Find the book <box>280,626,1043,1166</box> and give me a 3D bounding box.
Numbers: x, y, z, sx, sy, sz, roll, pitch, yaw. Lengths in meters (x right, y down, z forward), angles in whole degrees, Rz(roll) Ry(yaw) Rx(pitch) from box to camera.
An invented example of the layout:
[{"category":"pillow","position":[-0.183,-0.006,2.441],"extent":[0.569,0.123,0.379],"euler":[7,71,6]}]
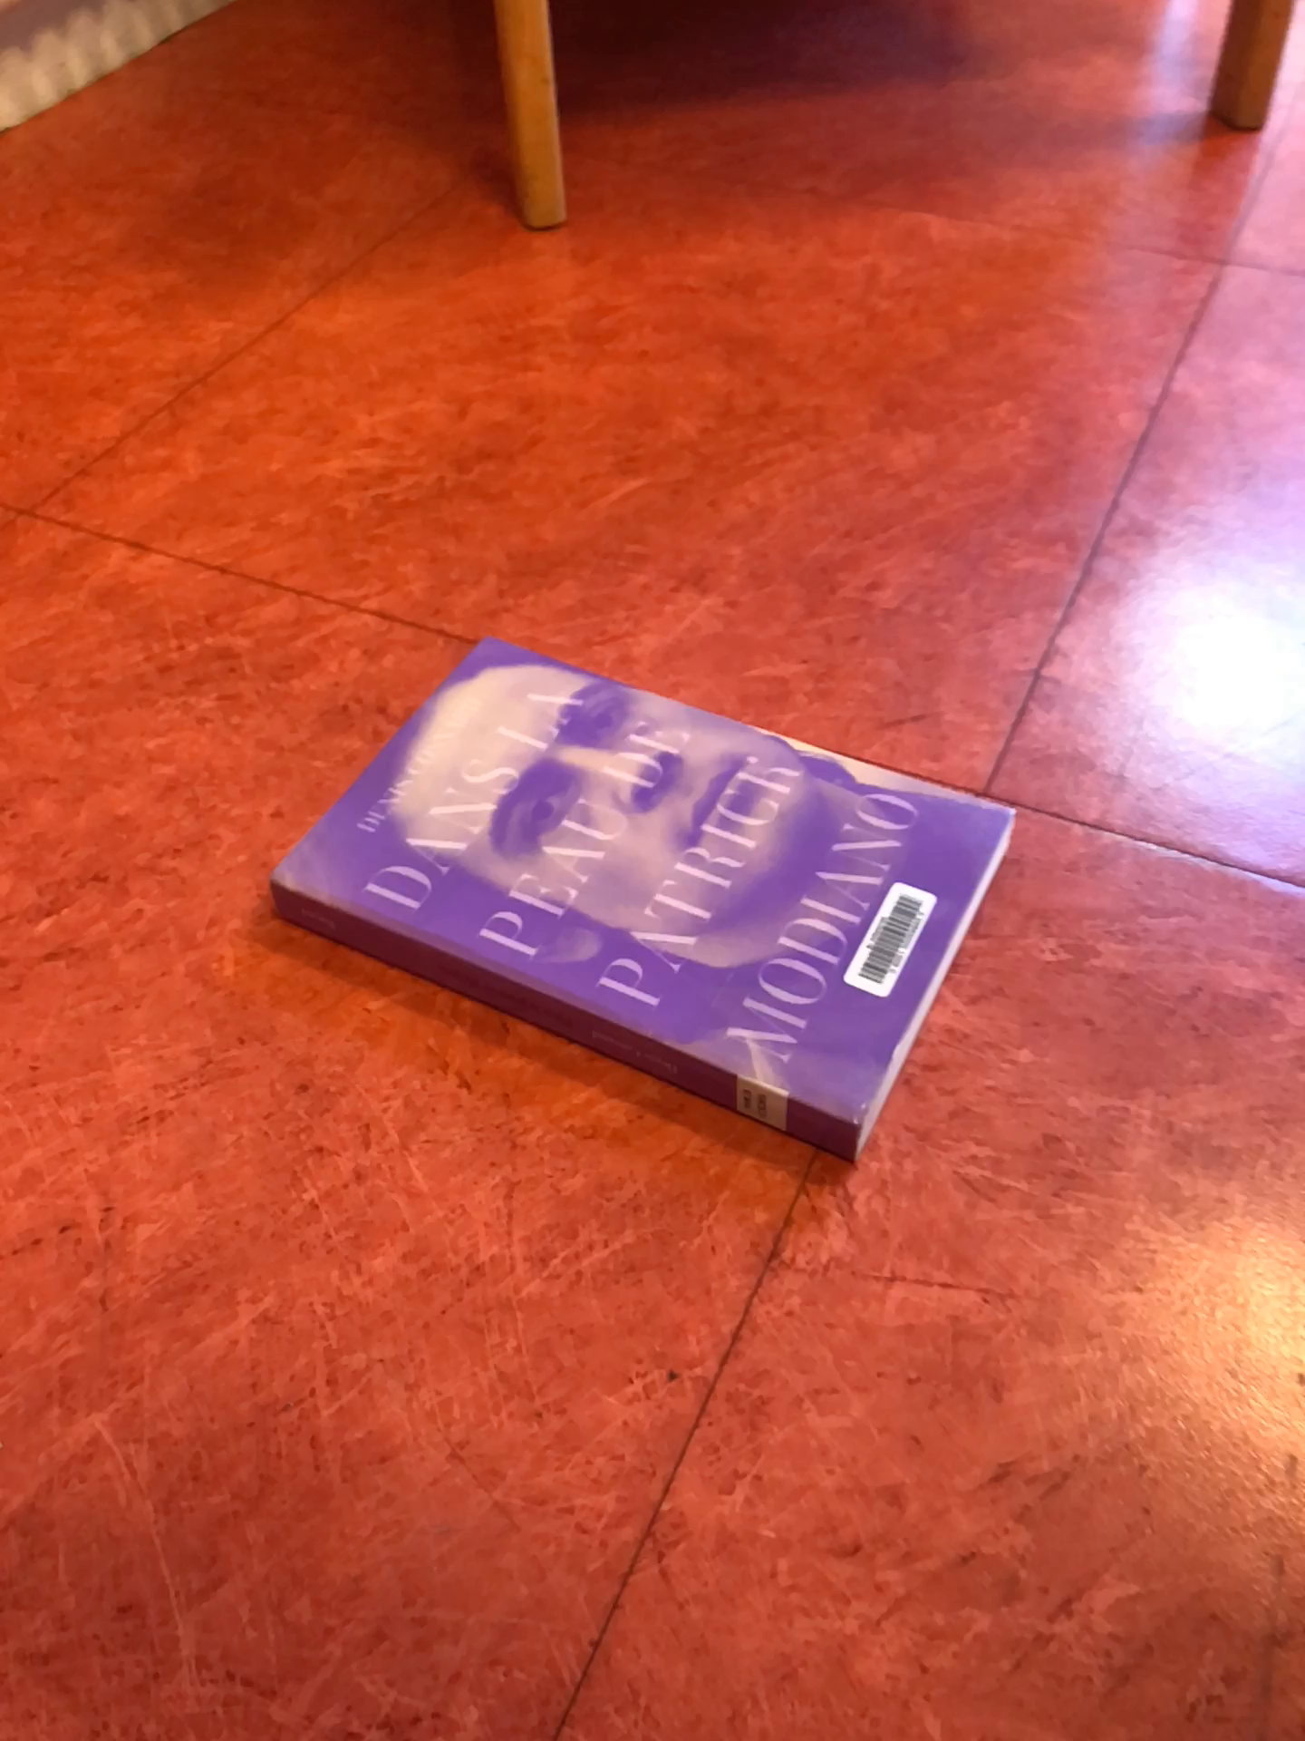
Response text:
[{"category":"book","position":[0.005,-0.004,0.529],"extent":[0.232,0.030,0.151],"euler":[20,51,19]}]
